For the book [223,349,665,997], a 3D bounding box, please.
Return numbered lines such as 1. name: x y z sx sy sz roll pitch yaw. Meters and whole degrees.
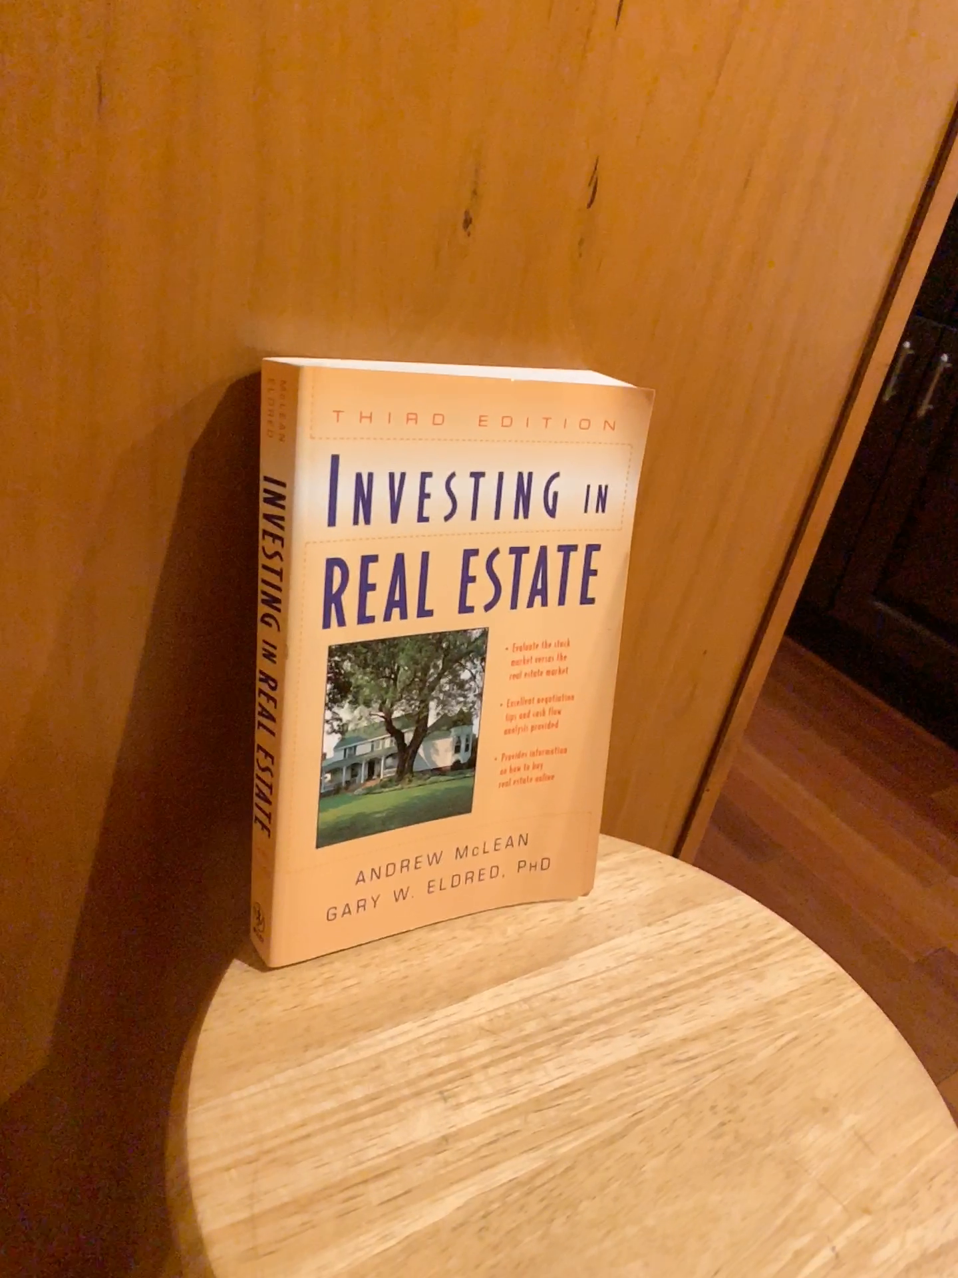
1. book: -0.016 0.009 0.398 0.160 0.229 0.050 -6 20 -33
